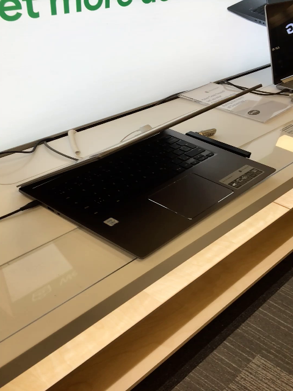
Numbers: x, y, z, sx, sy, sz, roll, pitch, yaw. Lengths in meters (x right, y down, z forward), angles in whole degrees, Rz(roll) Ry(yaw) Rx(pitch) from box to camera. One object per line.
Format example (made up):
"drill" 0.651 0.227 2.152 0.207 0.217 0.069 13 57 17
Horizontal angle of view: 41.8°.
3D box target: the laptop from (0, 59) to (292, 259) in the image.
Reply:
"laptop" 0.018 -0.076 0.589 0.311 0.148 0.243 -33 52 -32
